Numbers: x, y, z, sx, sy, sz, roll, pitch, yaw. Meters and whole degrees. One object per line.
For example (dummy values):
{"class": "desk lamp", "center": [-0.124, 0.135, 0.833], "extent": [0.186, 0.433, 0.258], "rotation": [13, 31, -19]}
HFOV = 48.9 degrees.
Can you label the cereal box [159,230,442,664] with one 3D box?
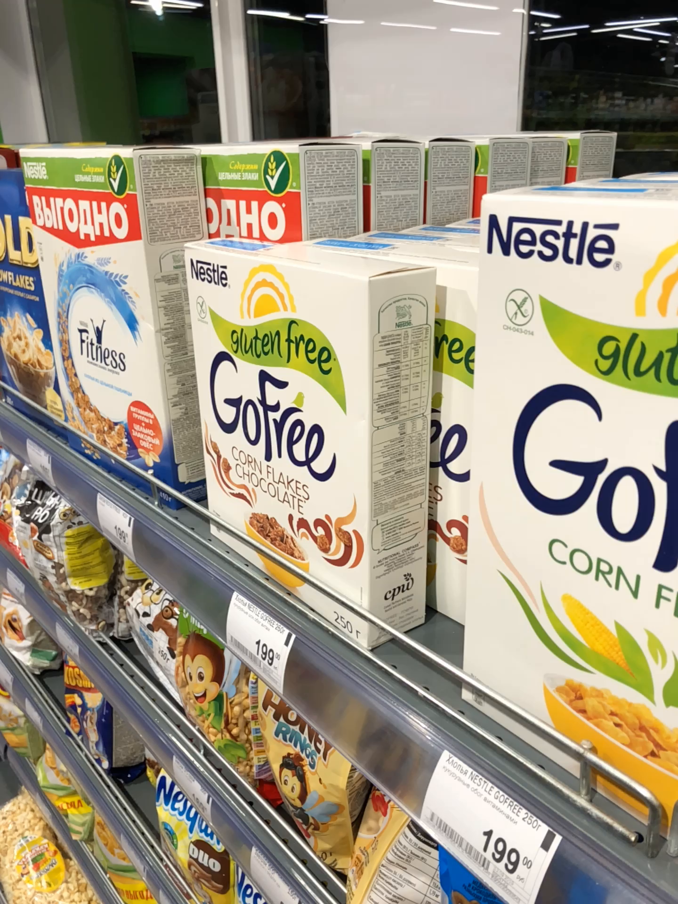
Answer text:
{"class": "cereal box", "center": [-0.032, -0.018, 0.473], "extent": [0.060, 0.219, 0.201], "rotation": [-16, 26, -35]}
